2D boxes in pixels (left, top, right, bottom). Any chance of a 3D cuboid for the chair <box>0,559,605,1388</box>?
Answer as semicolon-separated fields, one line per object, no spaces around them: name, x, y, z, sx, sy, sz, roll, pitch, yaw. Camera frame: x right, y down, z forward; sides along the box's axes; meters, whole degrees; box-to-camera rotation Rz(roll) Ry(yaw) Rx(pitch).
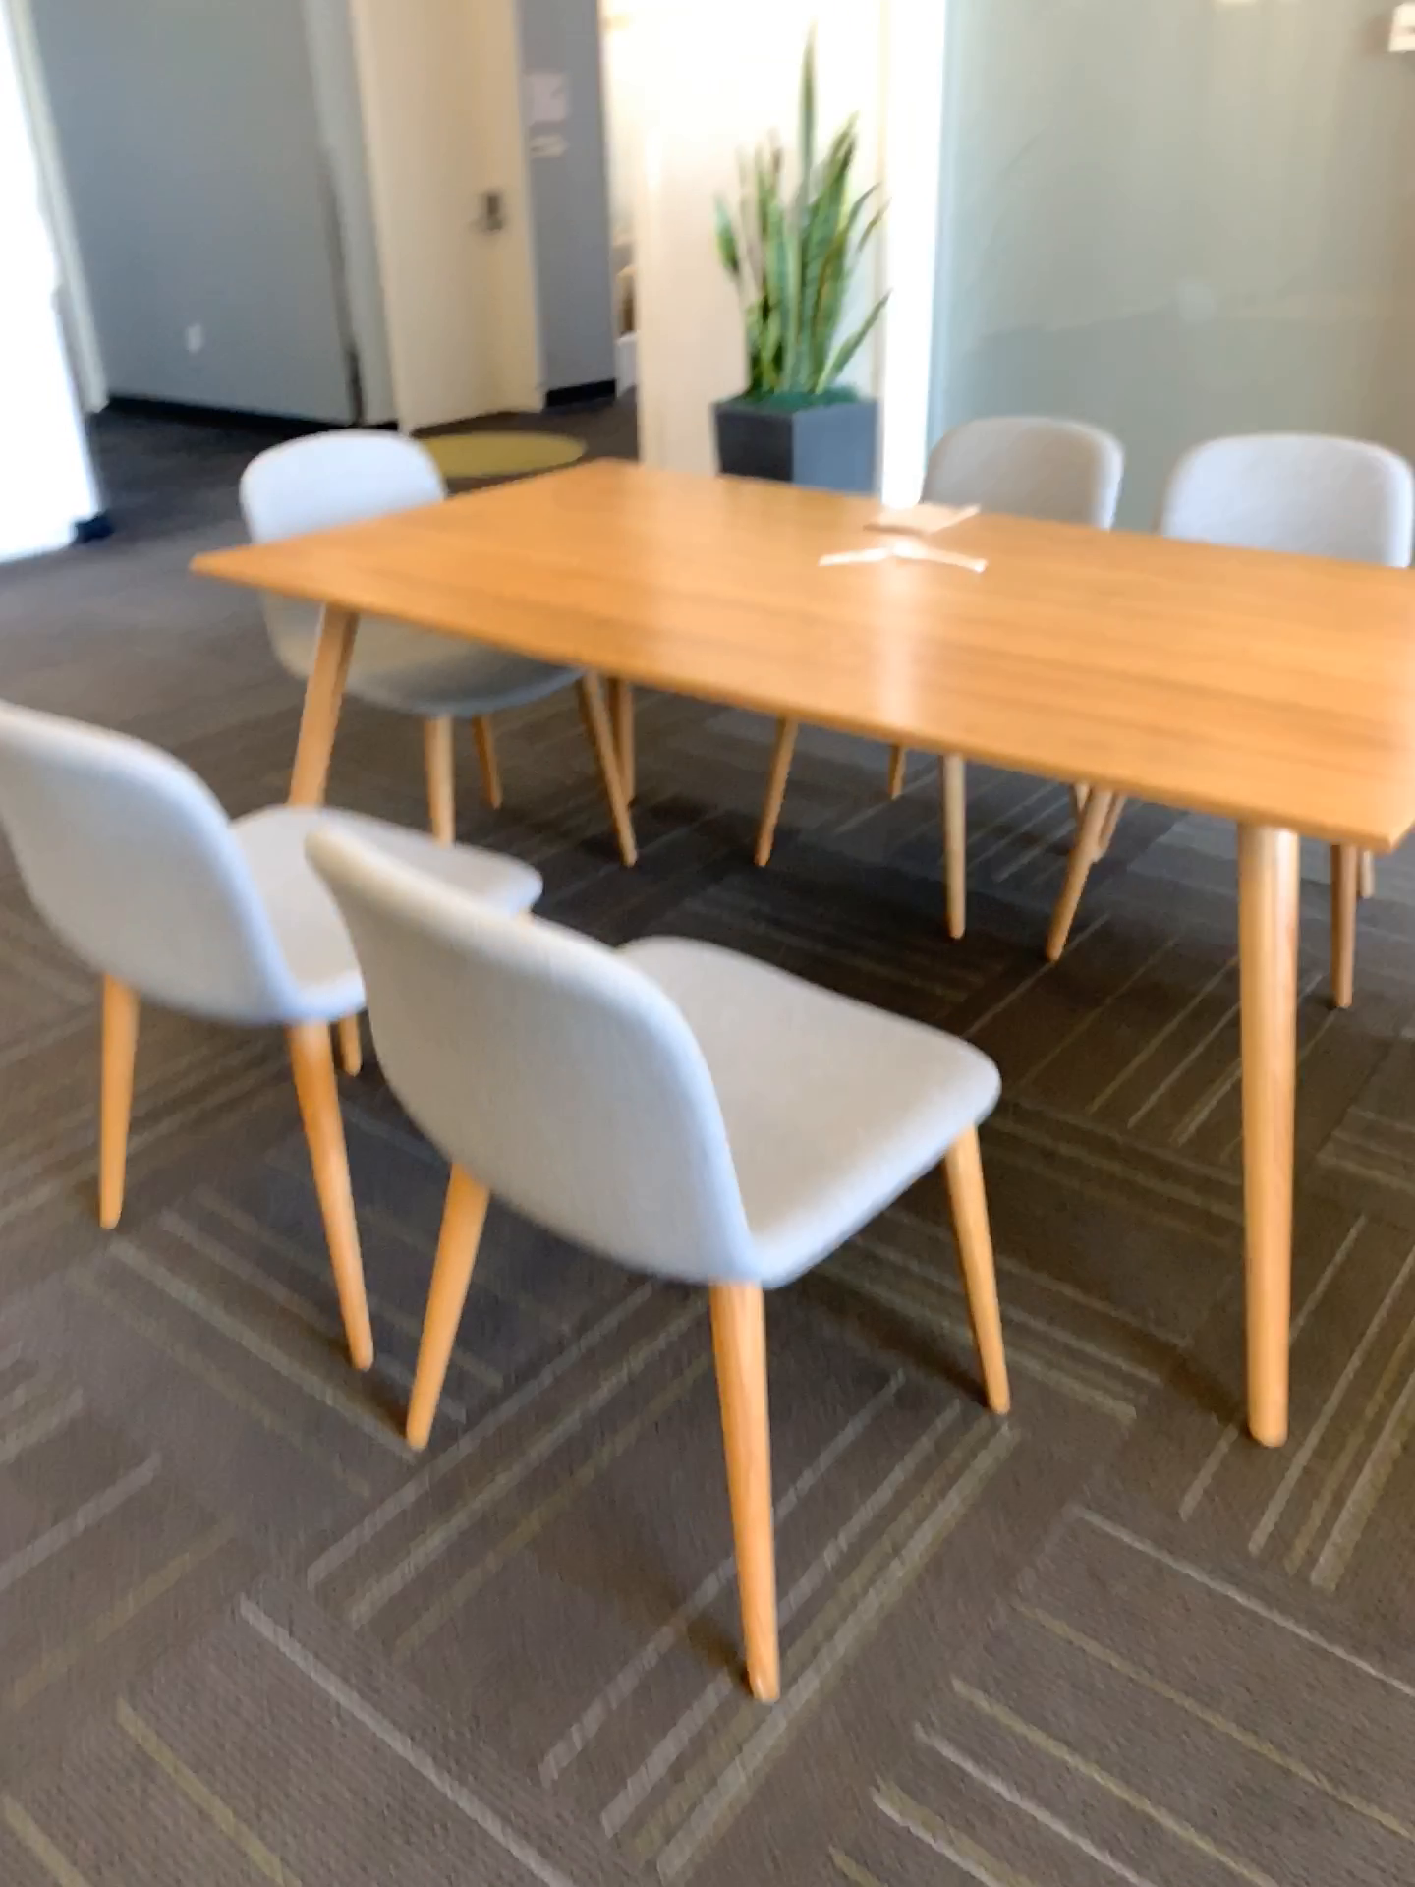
chair;-0.541;-0.007;1.866;0.572;0.775;0.531;19;34;33

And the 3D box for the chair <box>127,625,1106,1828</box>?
chair;-0.064;0.201;1.414;0.592;0.795;0.571;22;36;36
